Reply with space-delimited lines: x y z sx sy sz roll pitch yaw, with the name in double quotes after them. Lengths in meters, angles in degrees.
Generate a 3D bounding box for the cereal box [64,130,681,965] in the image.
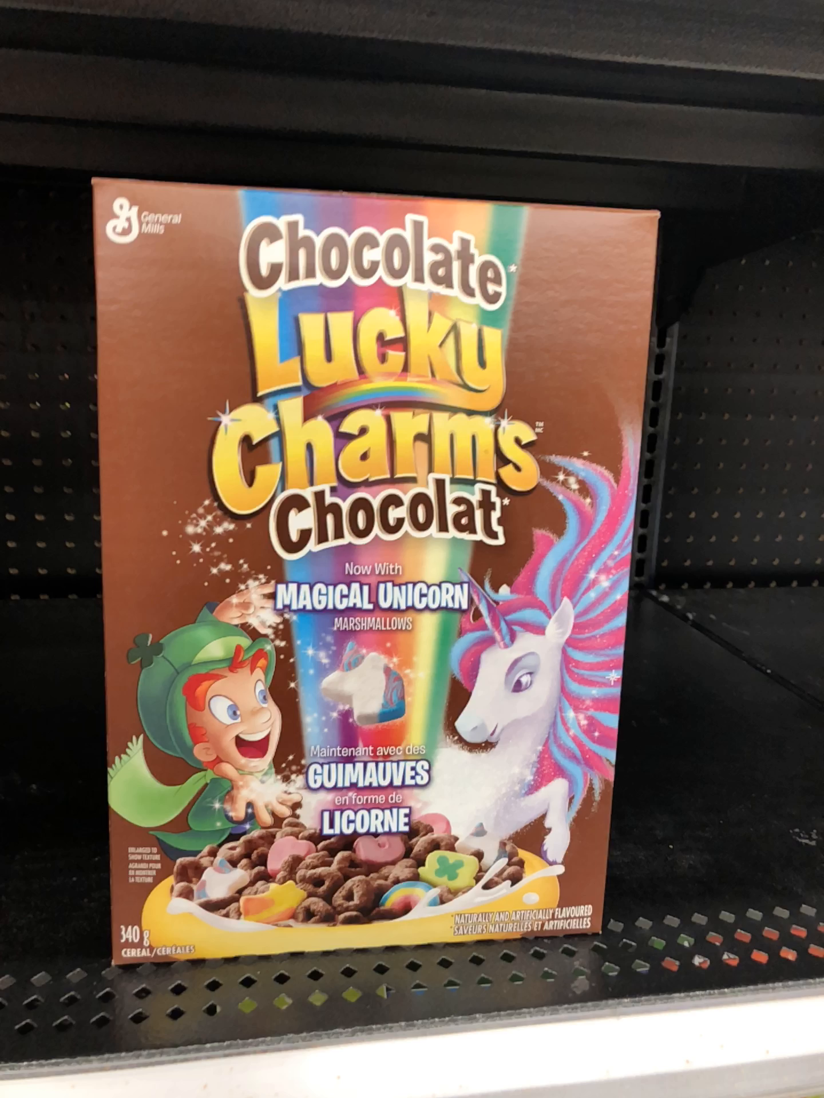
-0.016 0.007 0.346 0.200 0.289 0.050 0 11 -8 "cereal box"
